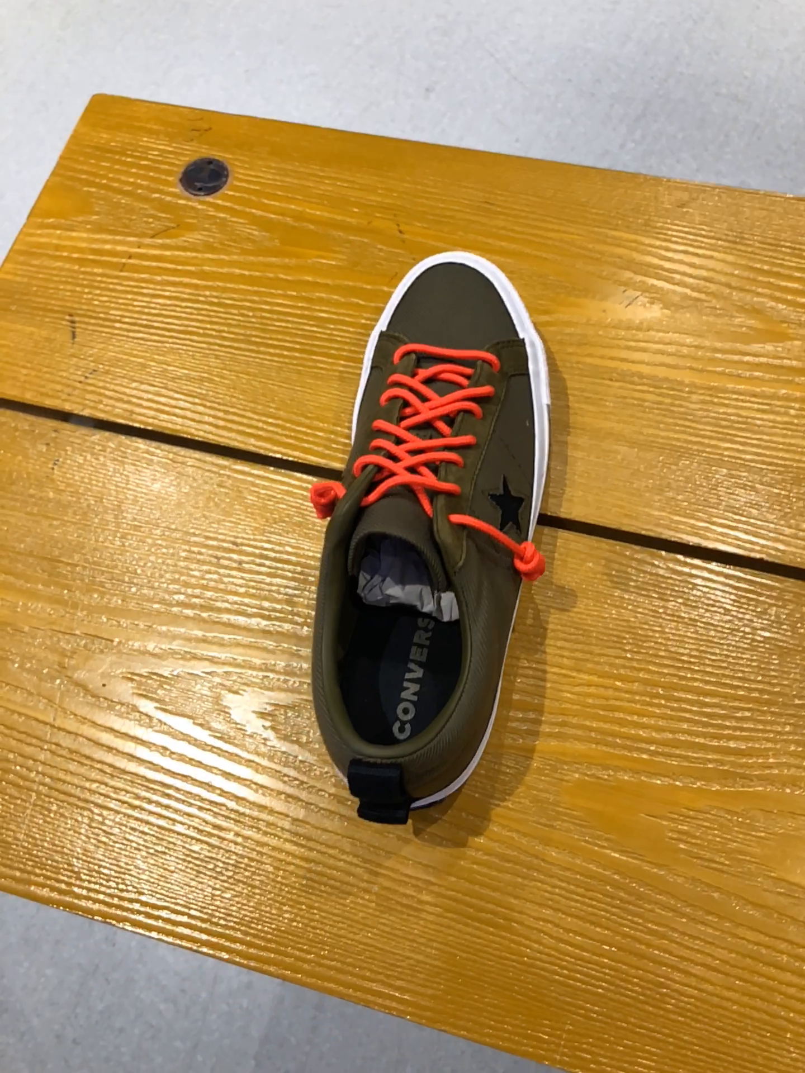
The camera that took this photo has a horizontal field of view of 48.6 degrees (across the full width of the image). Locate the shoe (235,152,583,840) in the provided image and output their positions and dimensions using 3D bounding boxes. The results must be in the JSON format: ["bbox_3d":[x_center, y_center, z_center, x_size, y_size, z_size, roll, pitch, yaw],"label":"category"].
[{"bbox_3d":[0.016,-0.024,0.408,0.105,0.097,0.293,5,69,7],"label":"shoe"}]
